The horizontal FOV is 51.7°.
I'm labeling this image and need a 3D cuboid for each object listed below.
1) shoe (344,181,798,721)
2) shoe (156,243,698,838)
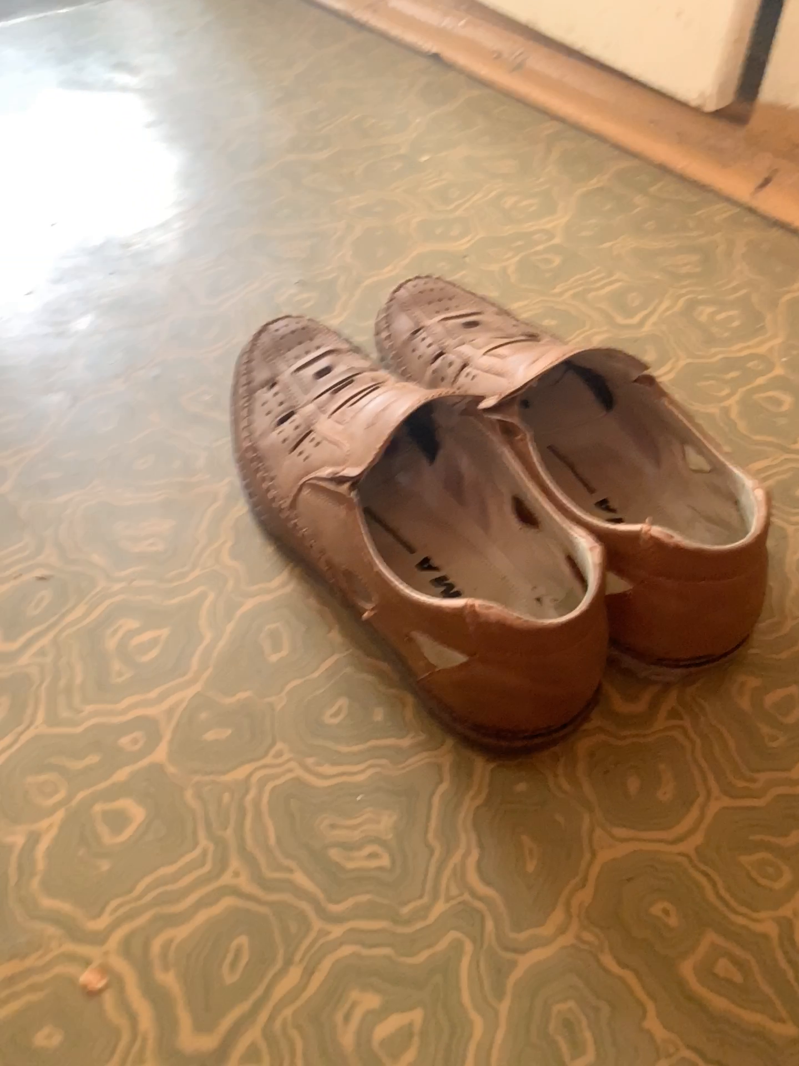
[{"bbox_3d":[0.084,-0.065,0.413,0.110,0.079,0.292,-21,51,-17],"label":"shoe"},{"bbox_3d":[-0.010,-0.022,0.389,0.100,0.079,0.292,-24,52,-19],"label":"shoe"}]
